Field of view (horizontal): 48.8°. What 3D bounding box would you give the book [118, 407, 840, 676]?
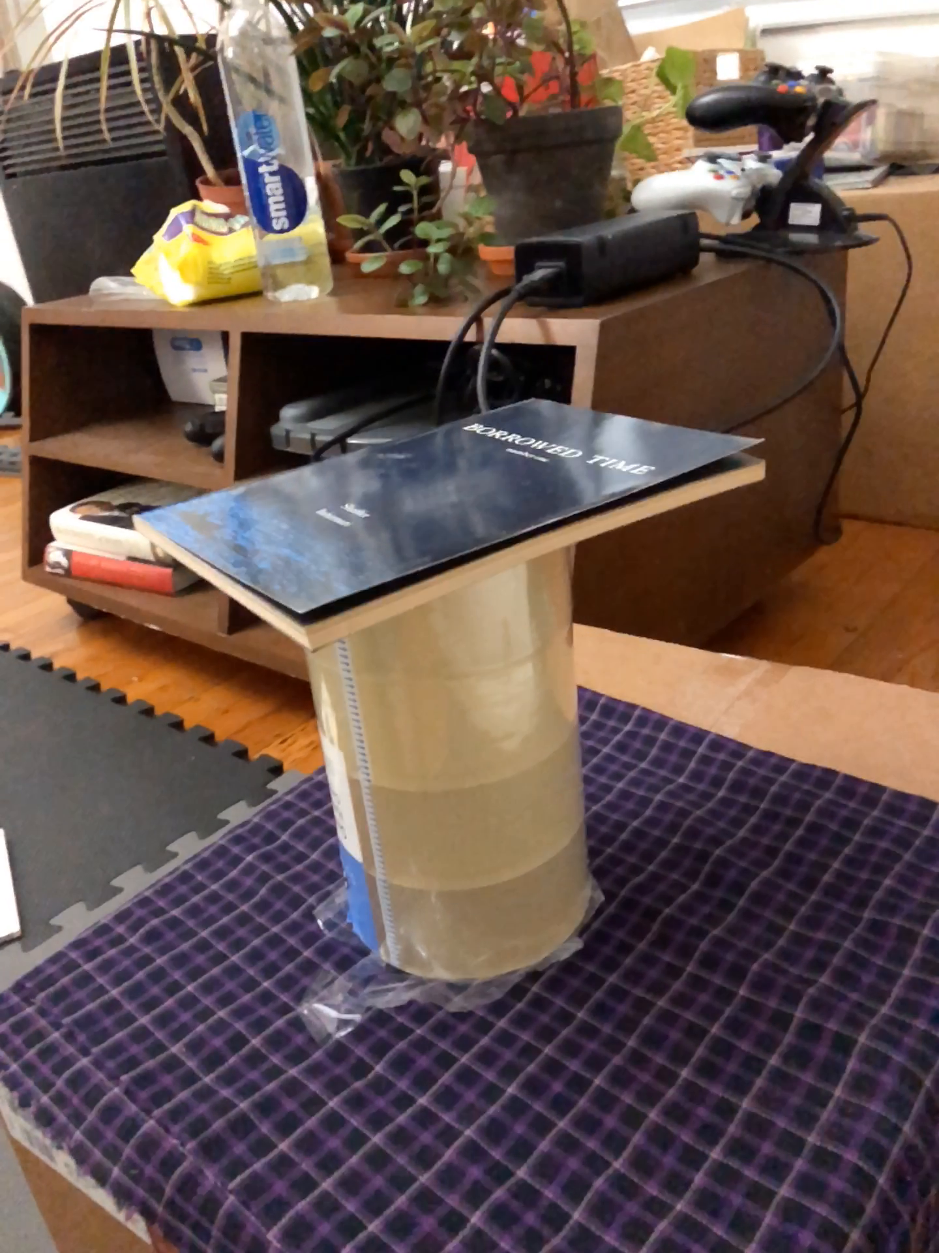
[{"bbox_3d":[0.004,-0.048,0.402,0.230,0.010,0.161,-20,29,-31],"label":"book"}]
